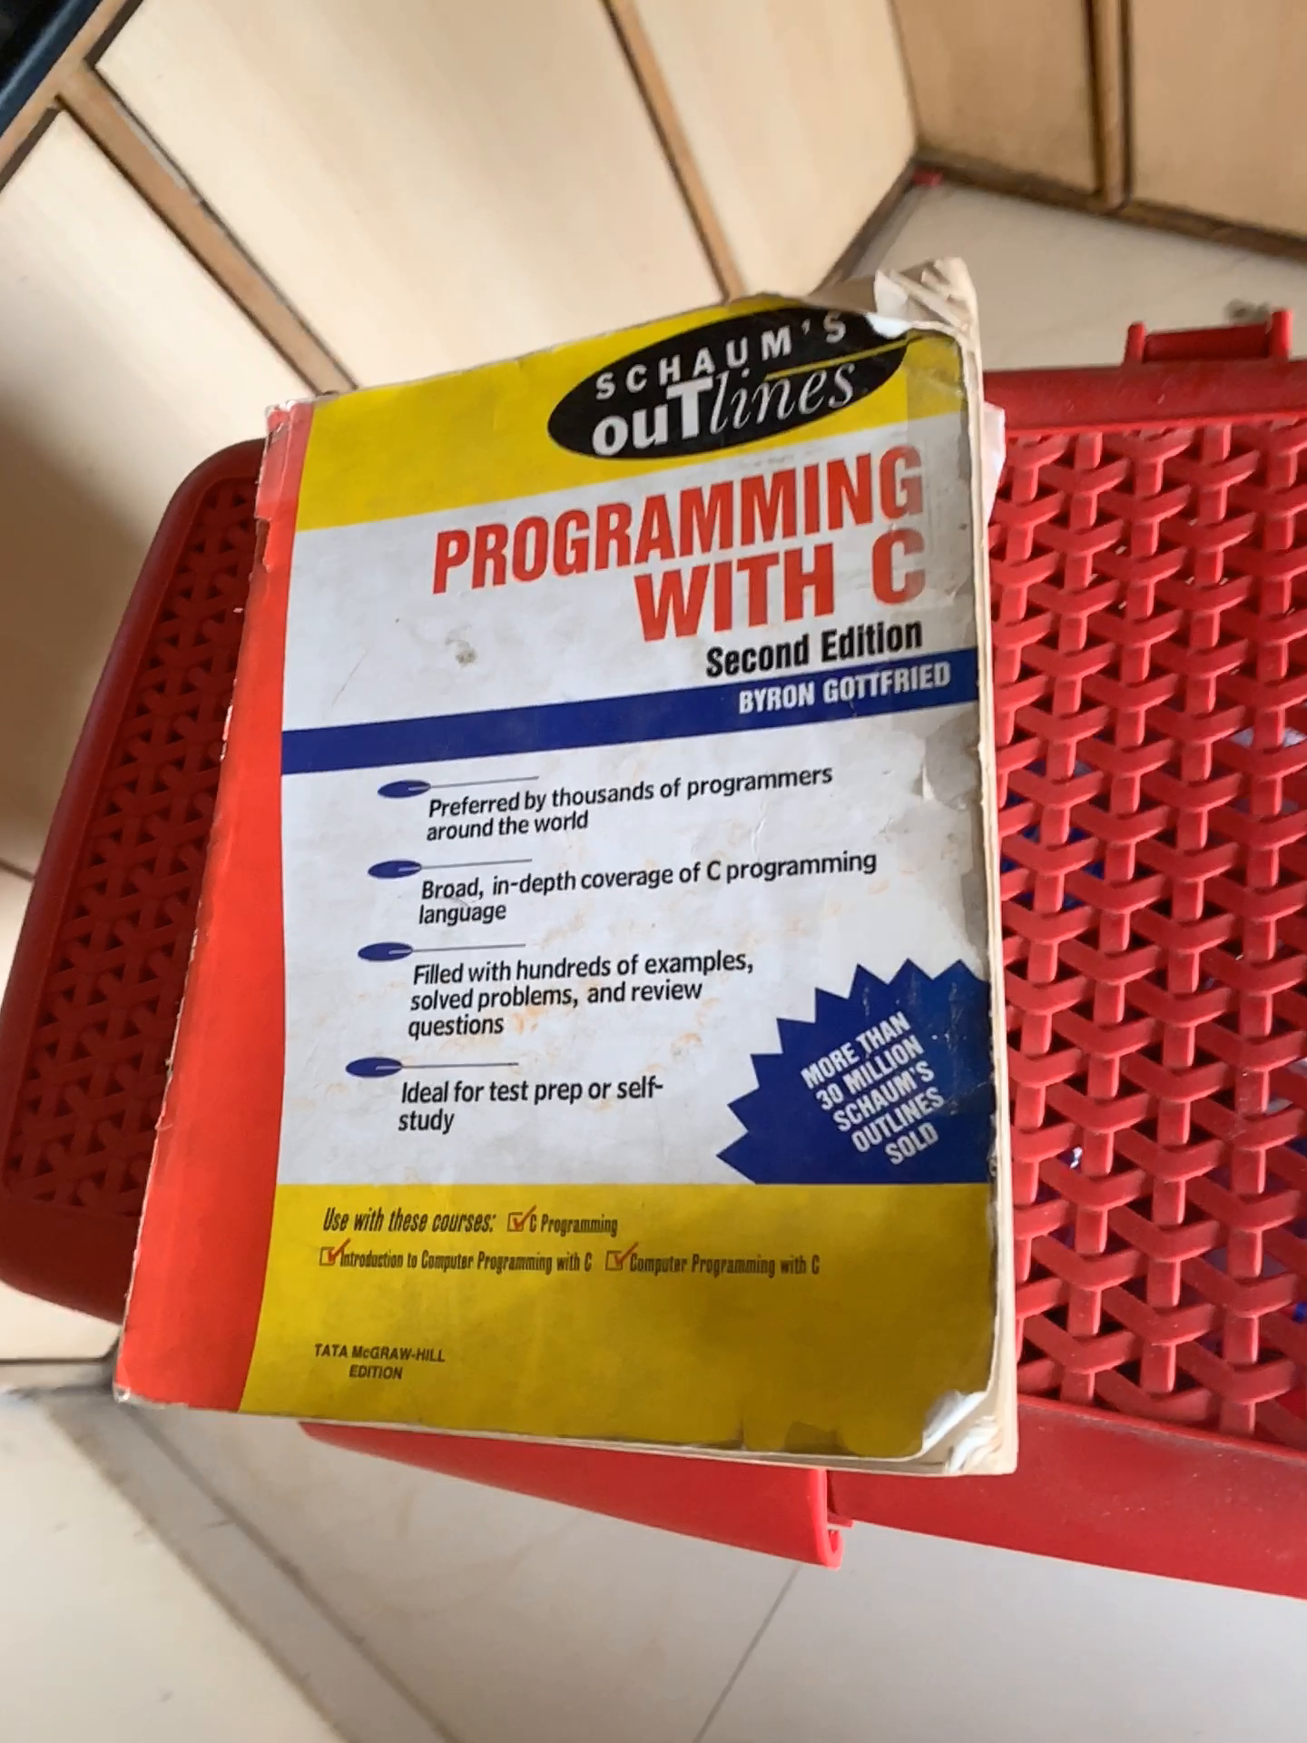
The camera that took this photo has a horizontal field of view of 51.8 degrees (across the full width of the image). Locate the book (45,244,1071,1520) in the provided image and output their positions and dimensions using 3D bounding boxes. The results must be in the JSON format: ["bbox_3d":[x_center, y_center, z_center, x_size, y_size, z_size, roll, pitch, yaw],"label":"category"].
[{"bbox_3d":[-0.016,-0.004,0.307,0.201,0.050,0.251,-4,70,20],"label":"book"}]
